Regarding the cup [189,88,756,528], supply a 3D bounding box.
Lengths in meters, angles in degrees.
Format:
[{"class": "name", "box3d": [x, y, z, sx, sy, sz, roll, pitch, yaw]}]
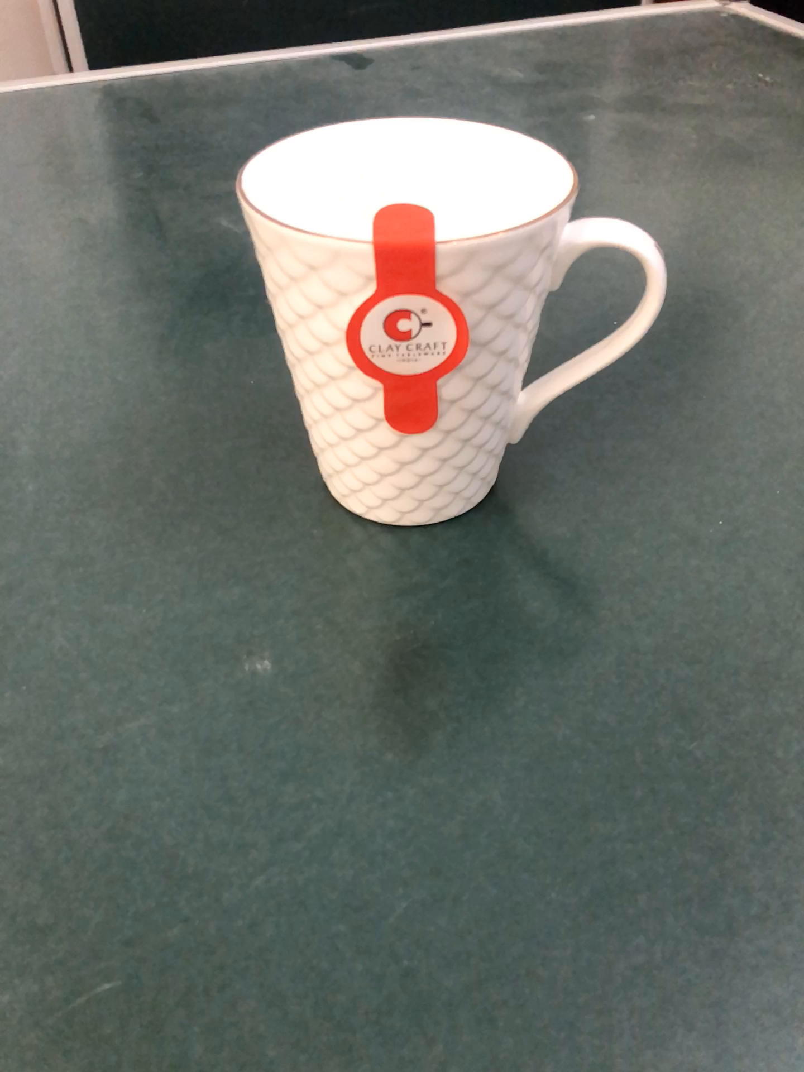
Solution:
[{"class": "cup", "box3d": [0.016, -0.063, 0.249, 0.120, 0.090, 0.080, -1, 42, 1]}]
